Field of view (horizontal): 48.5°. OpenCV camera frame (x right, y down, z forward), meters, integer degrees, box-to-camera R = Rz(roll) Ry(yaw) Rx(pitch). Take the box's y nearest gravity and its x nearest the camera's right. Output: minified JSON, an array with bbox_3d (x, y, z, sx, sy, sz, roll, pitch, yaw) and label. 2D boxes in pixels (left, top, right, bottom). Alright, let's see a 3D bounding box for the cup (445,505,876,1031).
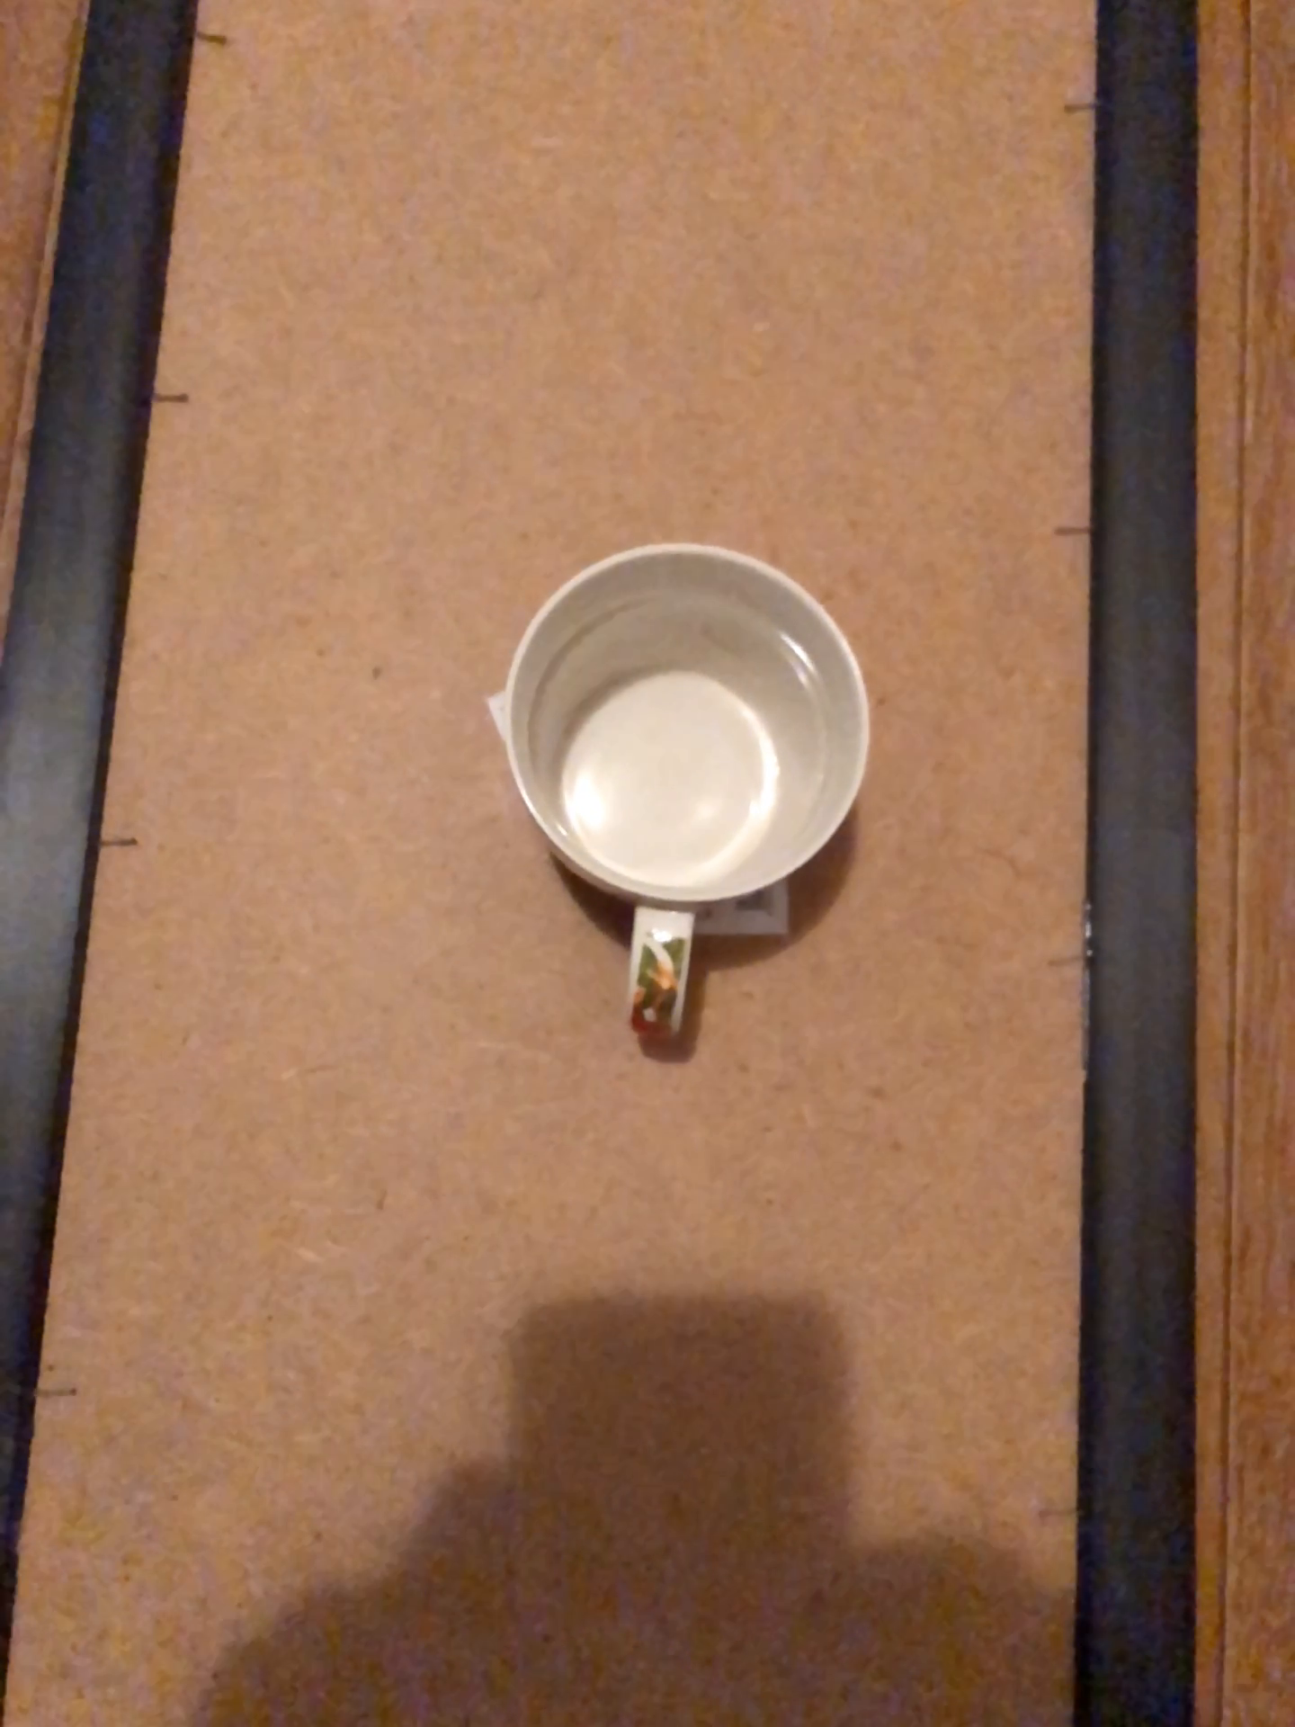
[{"bbox_3d":[0.003,-0.020,0.388,0.098,0.080,0.121,4,81,-2],"label":"cup"}]
